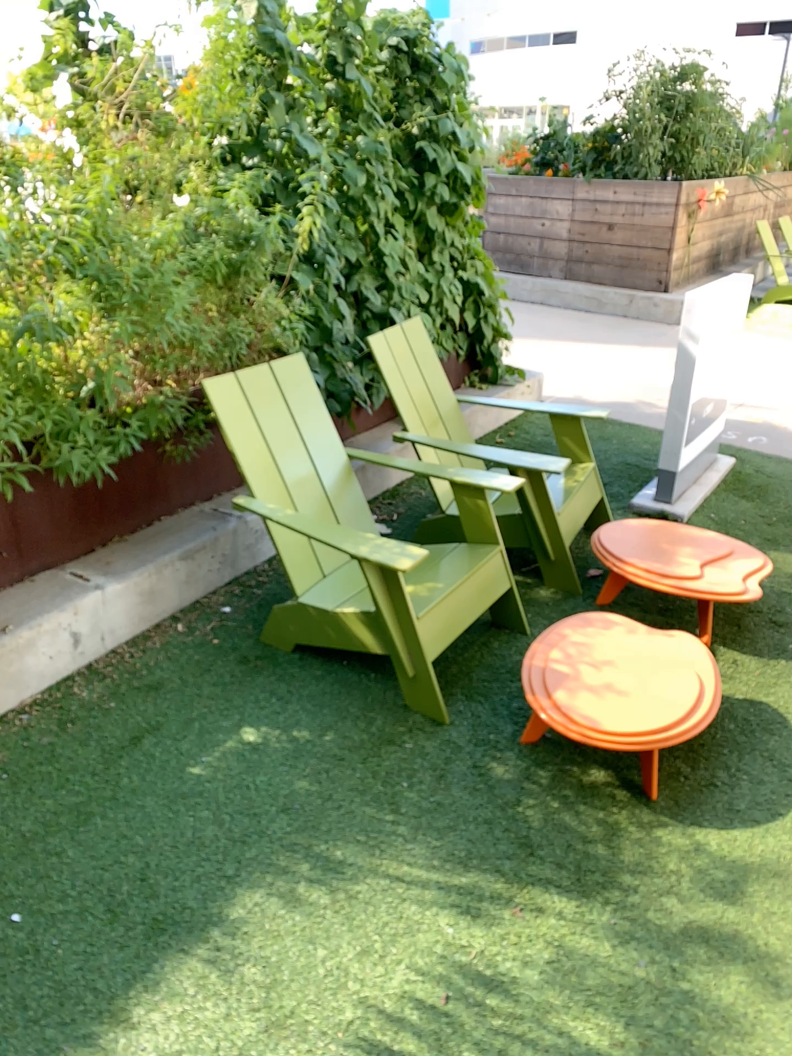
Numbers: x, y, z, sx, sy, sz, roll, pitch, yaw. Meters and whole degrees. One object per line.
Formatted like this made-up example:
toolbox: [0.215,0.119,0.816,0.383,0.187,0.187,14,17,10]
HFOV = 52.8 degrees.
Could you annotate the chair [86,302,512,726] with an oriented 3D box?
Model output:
chair: [-0.259,-0.080,2.527,0.821,1.006,0.772,0,20,37]

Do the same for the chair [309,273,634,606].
chair: [0.333,-0.334,3.096,0.820,1.016,0.733,-2,22,35]
